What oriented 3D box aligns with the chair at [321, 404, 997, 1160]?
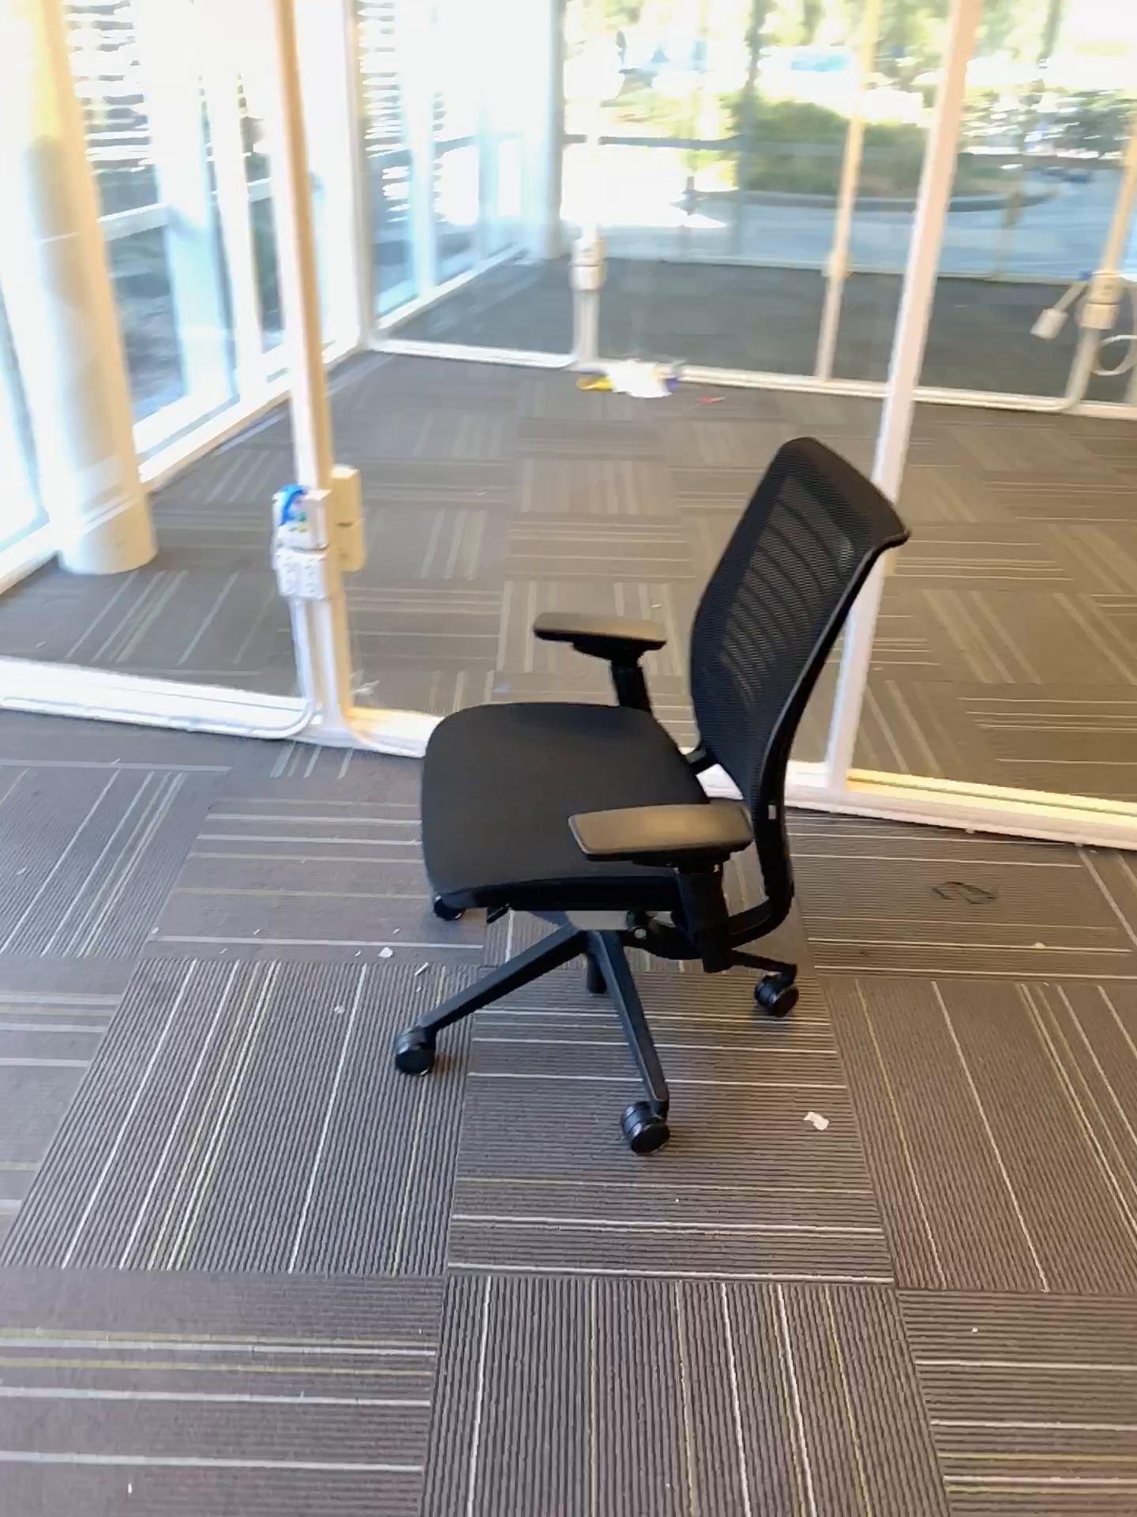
[{"bbox_3d":[0.068,0.012,1.735,0.710,0.875,0.694,0,32,-4],"label":"chair"}]
